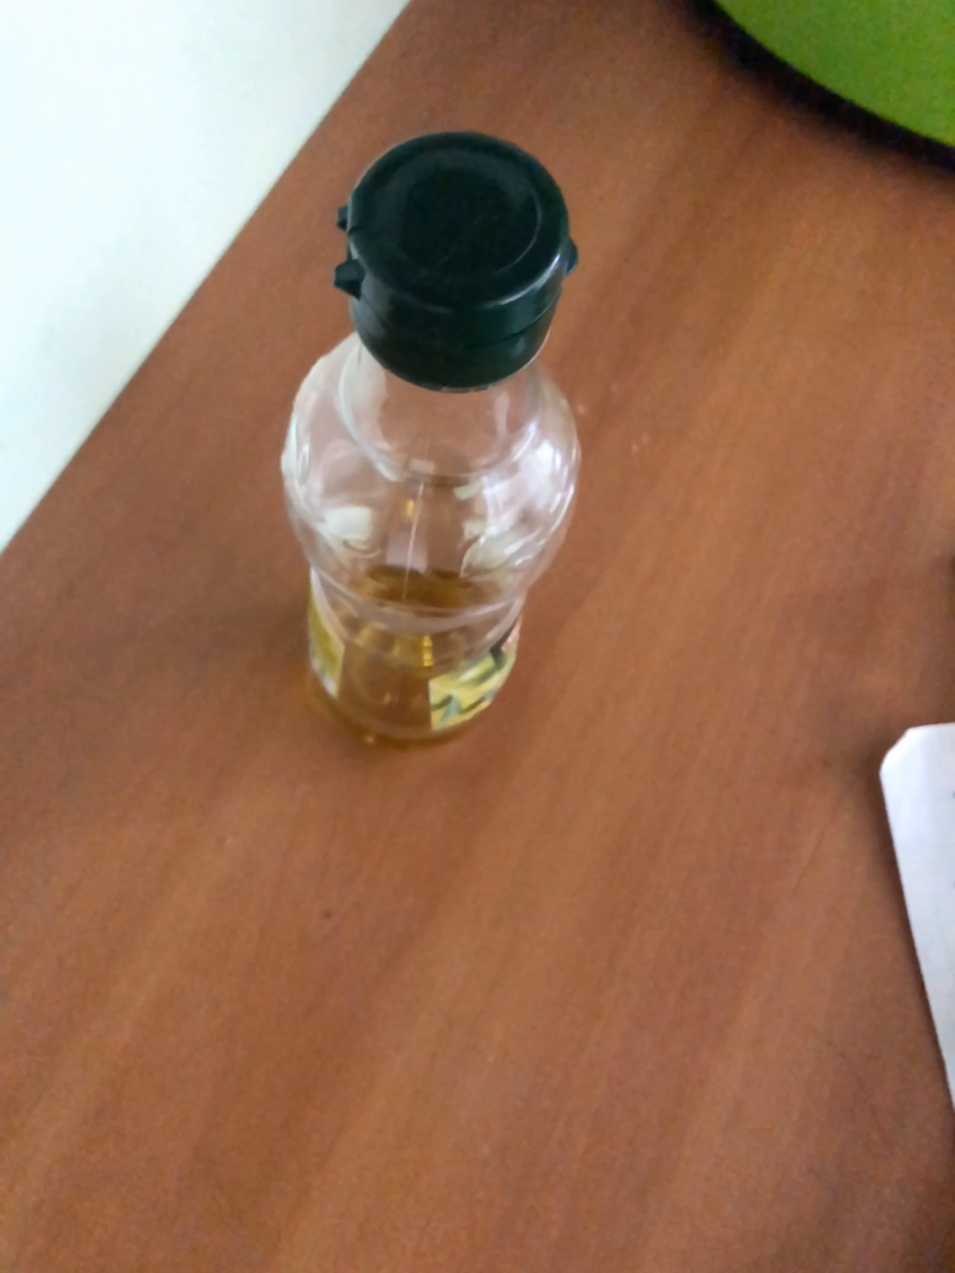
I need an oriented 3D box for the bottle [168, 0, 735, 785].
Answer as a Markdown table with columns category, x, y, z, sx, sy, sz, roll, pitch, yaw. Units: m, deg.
| category | x | y | z | sx | sy | sz | roll | pitch | yaw |
| --- | --- | --- | --- | --- | --- | --- | --- | --- | --- |
| bottle | -0.012 | -0.027 | 0.269 | 0.070 | 0.239 | 0.070 | 2 | 71 | -5 |
